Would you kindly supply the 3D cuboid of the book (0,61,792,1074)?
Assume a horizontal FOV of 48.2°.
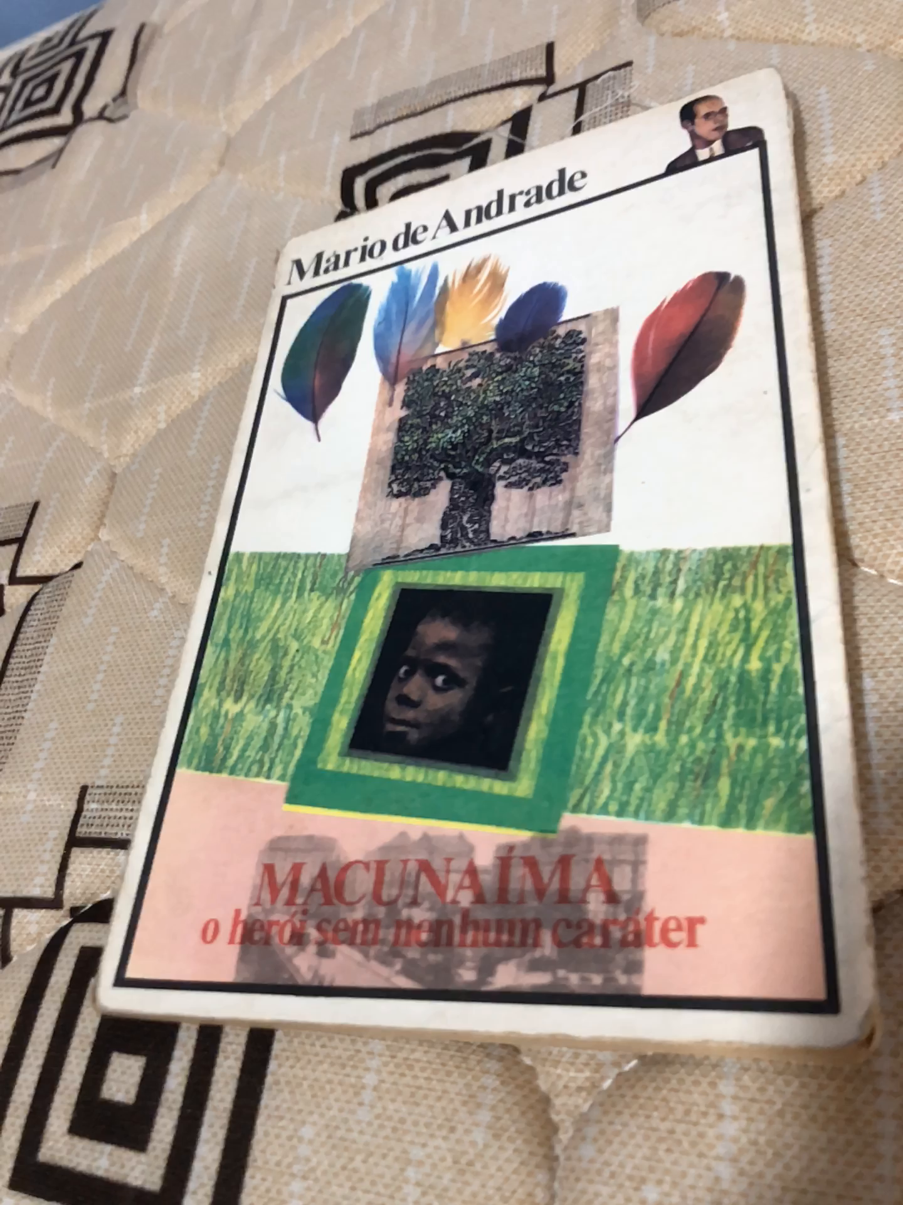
[{"bbox_3d":[-0.009,-0.017,0.199,0.130,0.020,0.190,-9,58,25],"label":"book"}]
